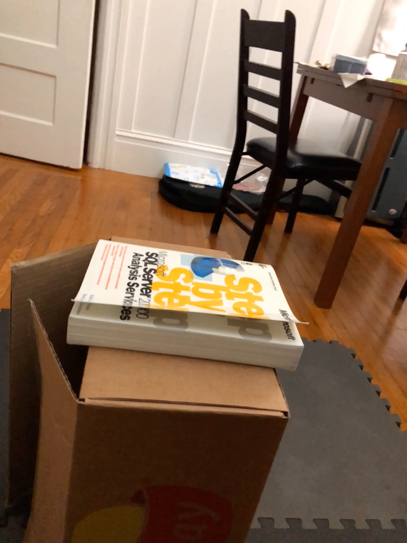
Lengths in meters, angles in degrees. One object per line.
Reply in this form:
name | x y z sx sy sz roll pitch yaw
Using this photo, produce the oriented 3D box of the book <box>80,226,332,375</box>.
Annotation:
book | -0.007 0.025 0.518 0.240 0.050 0.201 5 30 -11
